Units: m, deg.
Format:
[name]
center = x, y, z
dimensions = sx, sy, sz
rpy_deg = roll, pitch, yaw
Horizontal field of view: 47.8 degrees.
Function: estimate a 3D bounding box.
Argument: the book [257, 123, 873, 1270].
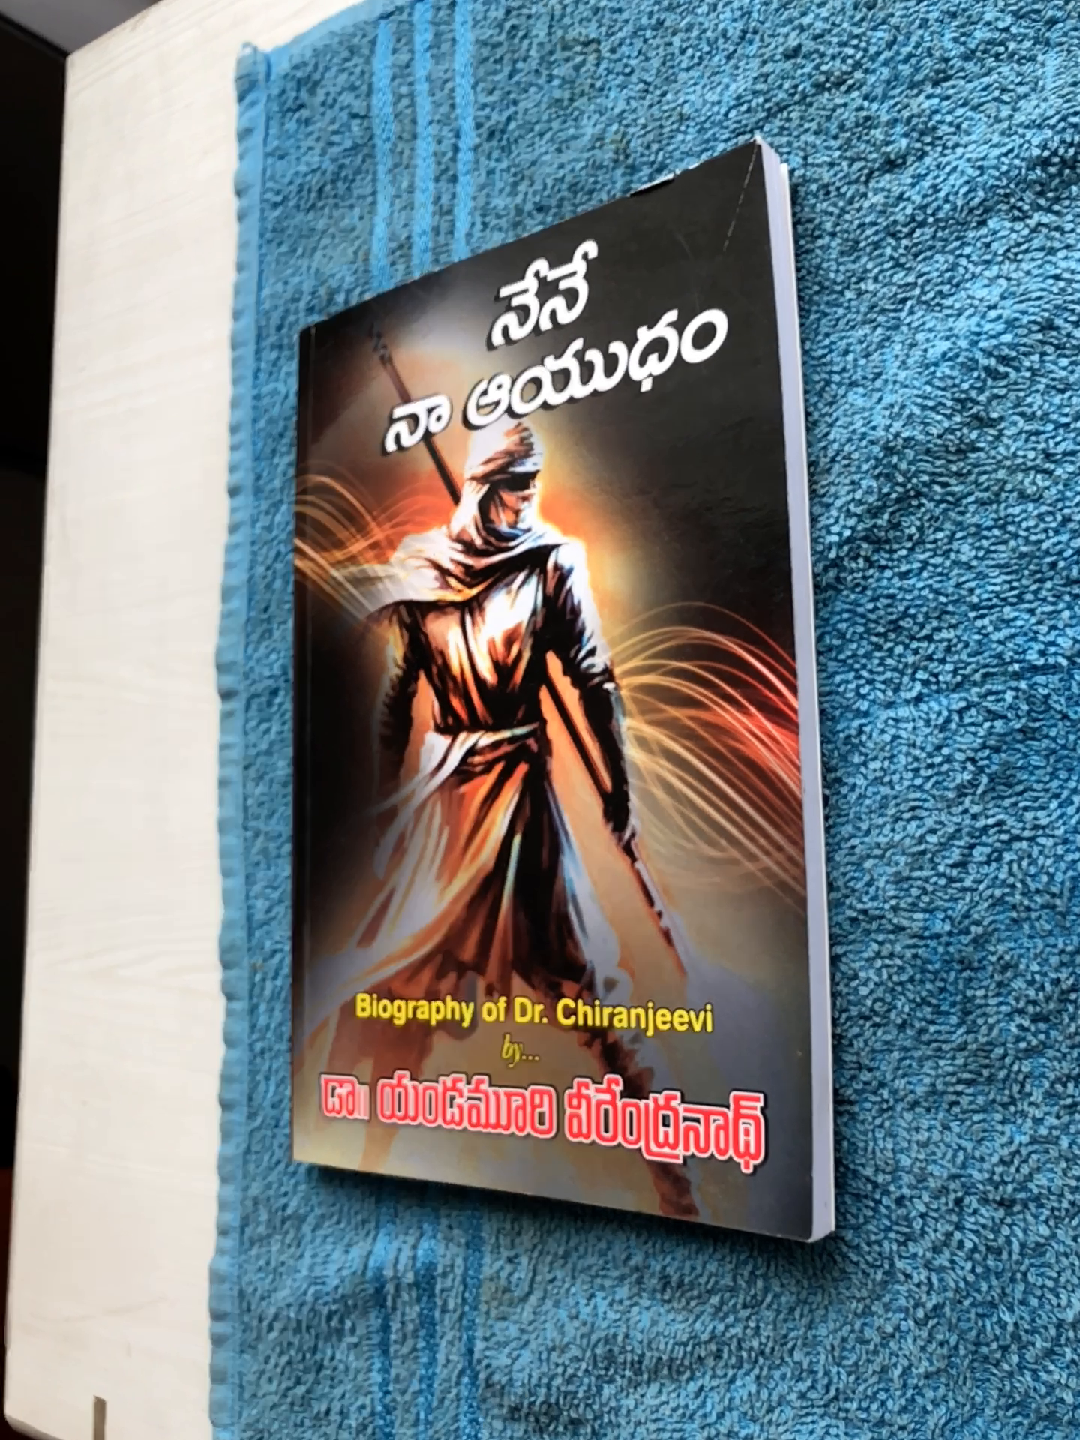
[book]
center = -0.003, -0.004, 0.281
dimensions = 0.141, 0.030, 0.220
rpy_deg = -6, 81, 33
